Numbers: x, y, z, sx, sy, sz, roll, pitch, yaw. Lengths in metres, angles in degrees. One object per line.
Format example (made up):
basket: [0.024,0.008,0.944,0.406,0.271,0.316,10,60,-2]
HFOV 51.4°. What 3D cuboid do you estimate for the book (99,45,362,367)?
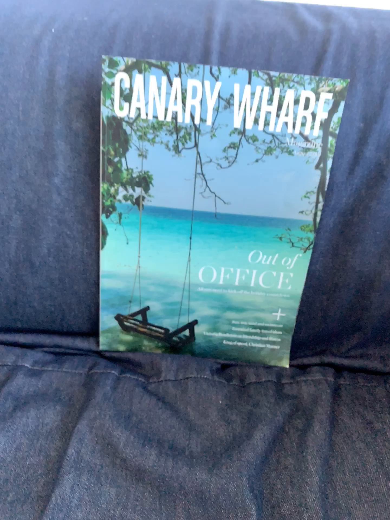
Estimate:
book: [0.017,-0.036,0.375,0.205,0.273,0.030,5,19,1]
